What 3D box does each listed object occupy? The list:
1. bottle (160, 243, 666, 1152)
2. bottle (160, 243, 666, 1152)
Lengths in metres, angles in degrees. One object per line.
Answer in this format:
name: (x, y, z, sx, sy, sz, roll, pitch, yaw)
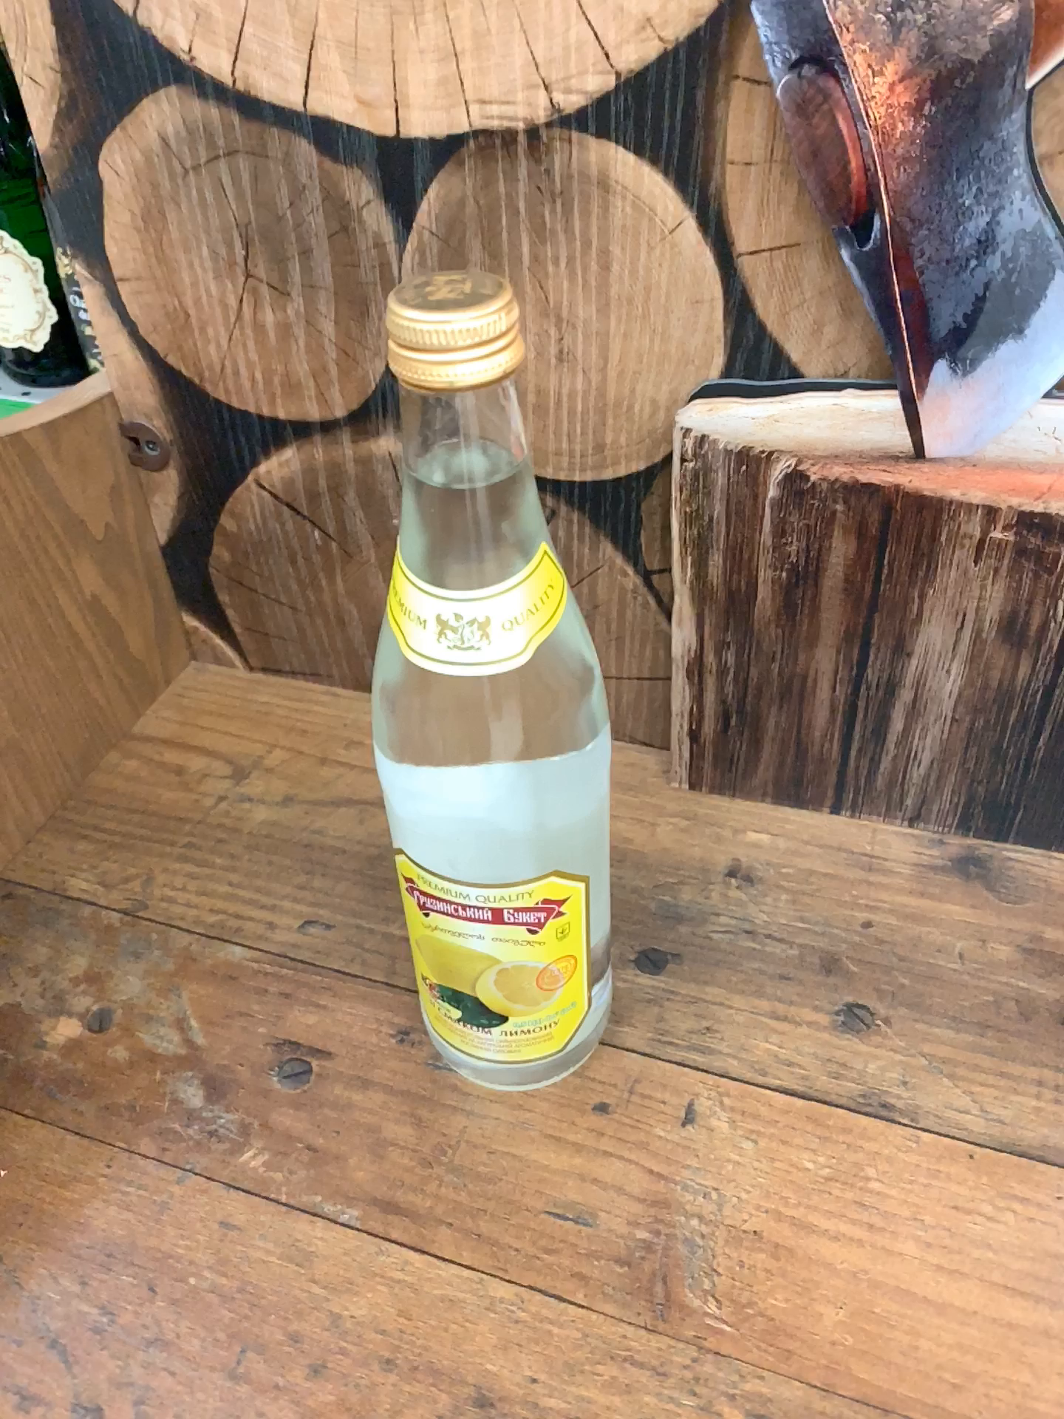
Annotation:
bottle: (-0.014, 0.012, 0.271, 0.070, 0.219, 0.070, -2, 40, 2)
bottle: (-0.014, 0.012, 0.271, 0.070, 0.219, 0.070, -2, 40, 2)
